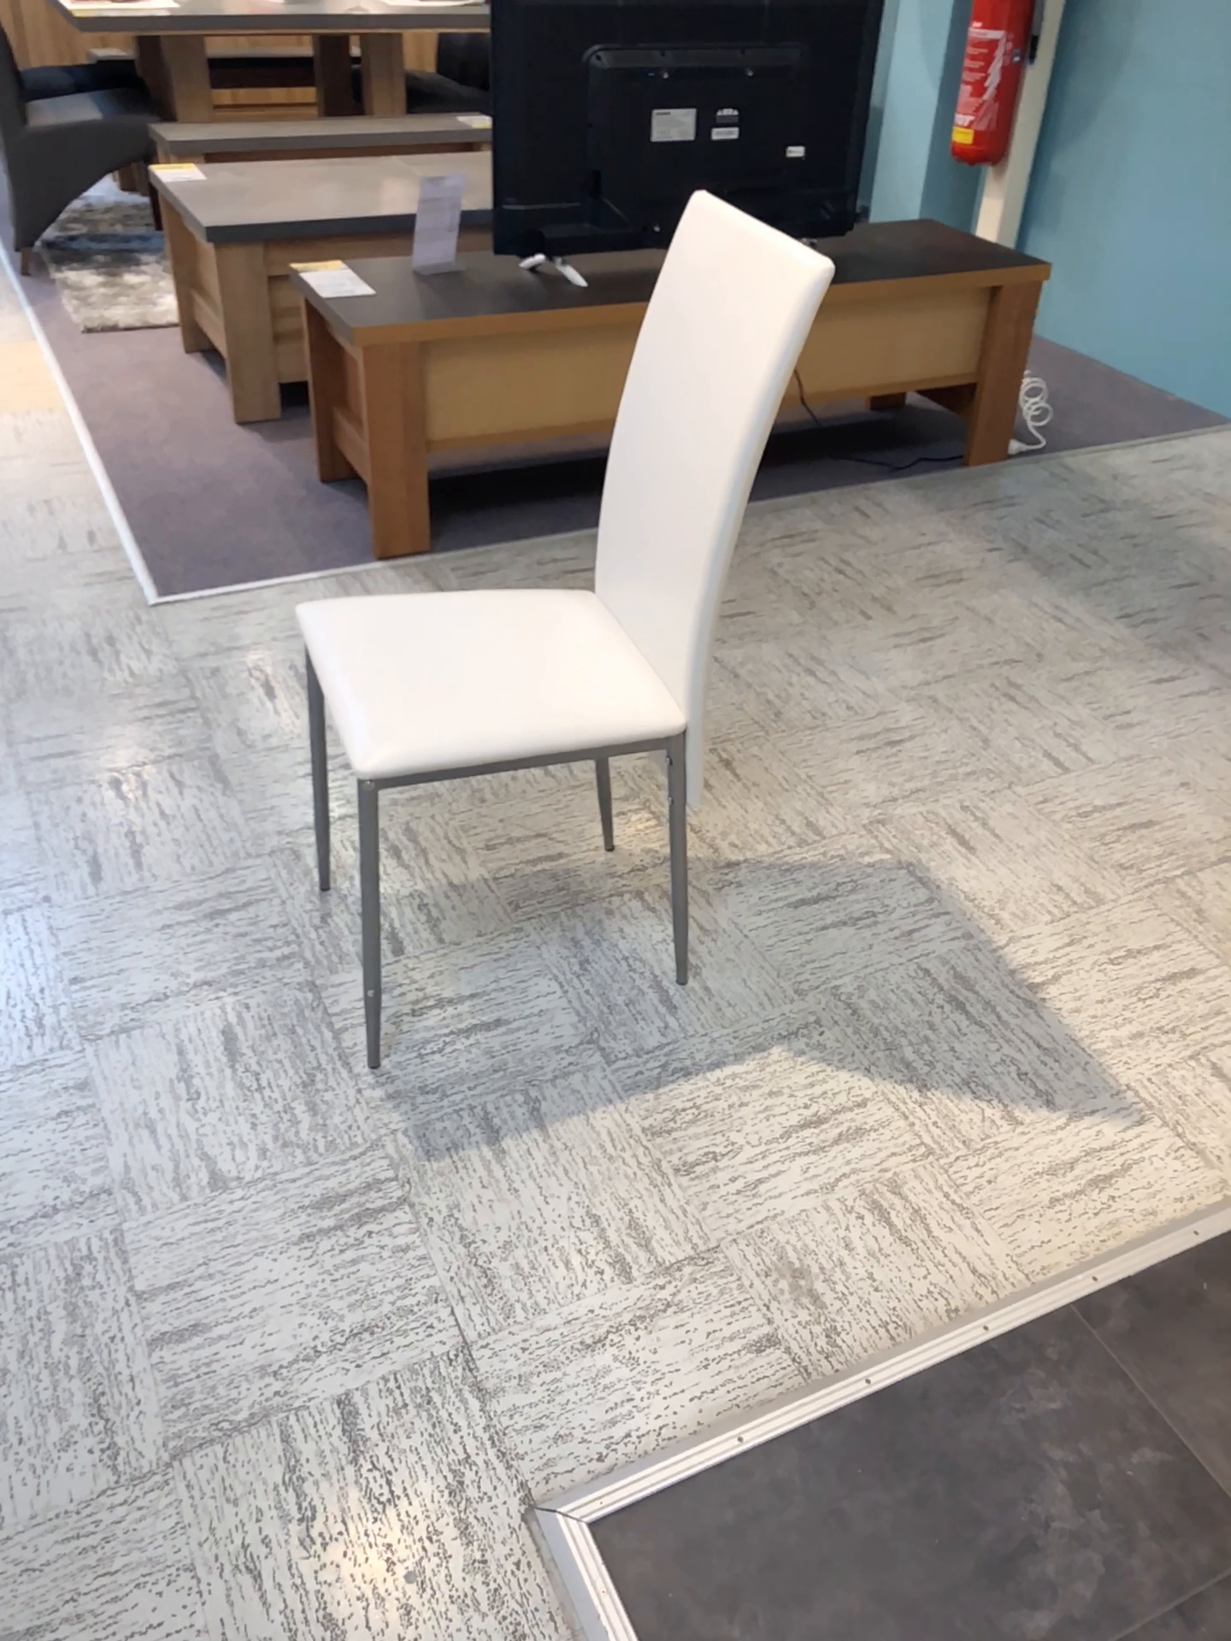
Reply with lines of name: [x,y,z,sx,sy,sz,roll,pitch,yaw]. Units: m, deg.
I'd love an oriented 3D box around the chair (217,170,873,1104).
chair: [-0.115,-0.217,1.617,0.551,0.944,0.472,-9,36,-16]
